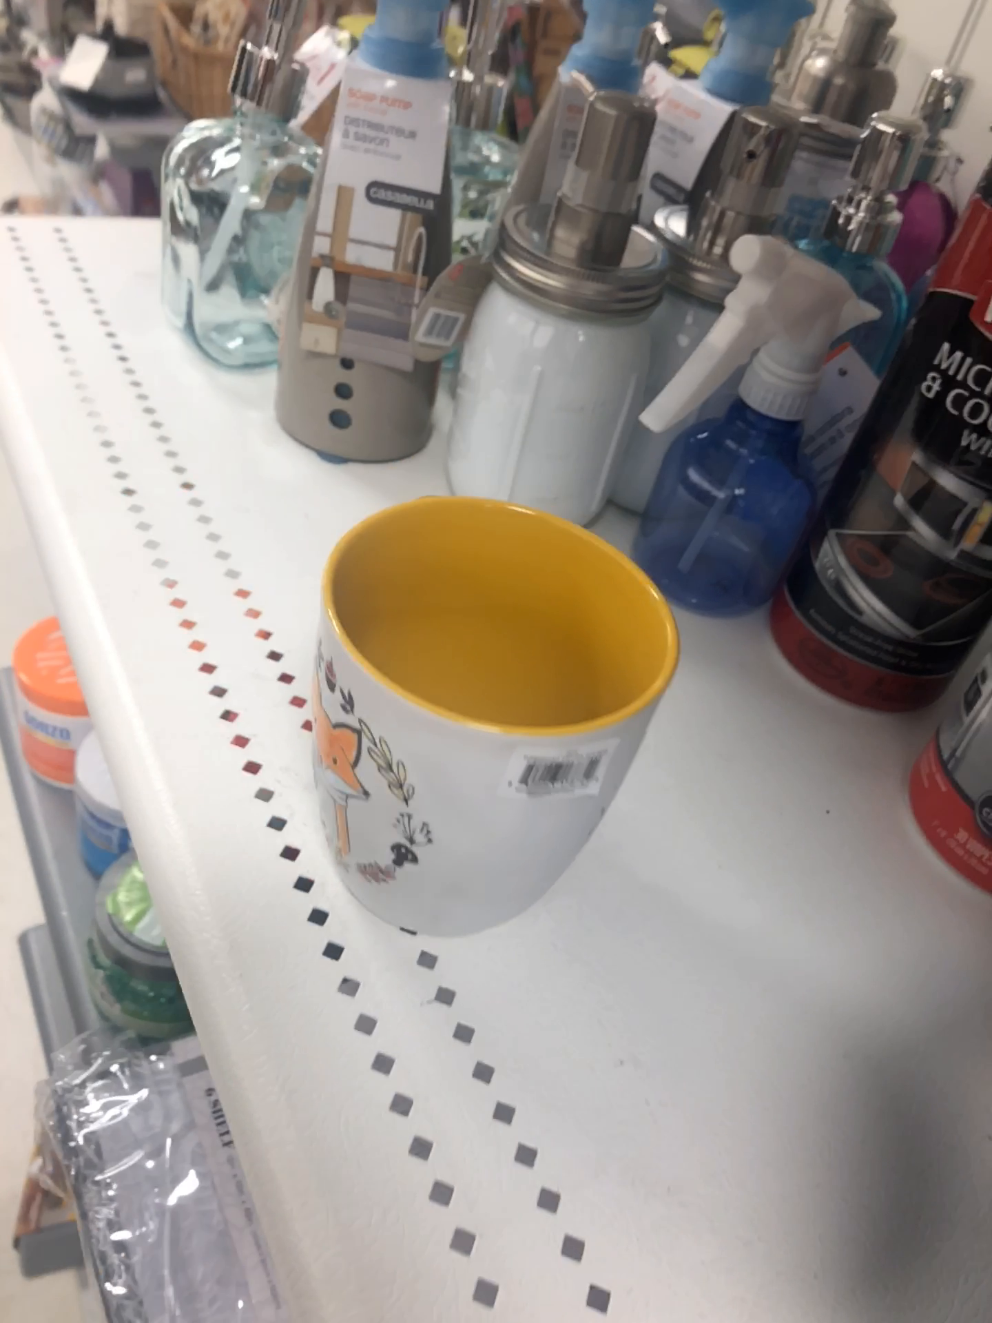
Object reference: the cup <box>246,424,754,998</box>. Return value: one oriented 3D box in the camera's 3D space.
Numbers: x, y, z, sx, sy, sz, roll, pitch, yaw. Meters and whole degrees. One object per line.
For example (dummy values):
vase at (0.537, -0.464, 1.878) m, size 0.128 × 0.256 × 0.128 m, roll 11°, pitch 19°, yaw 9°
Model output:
cup at (-0.012, 0.008, 0.325) m, size 0.099 × 0.093 × 0.134 m, roll -2°, pitch 43°, yaw -20°
